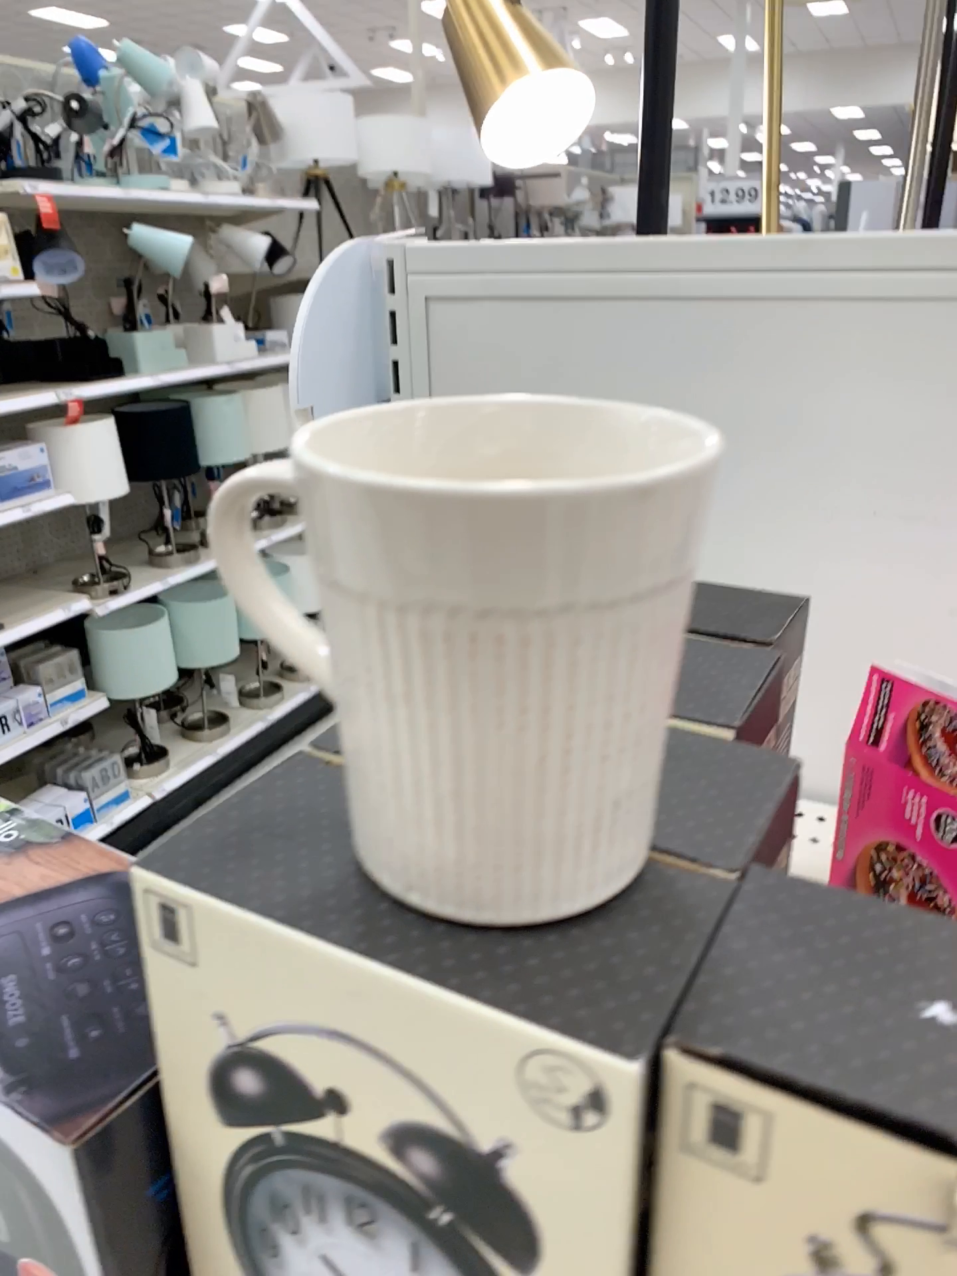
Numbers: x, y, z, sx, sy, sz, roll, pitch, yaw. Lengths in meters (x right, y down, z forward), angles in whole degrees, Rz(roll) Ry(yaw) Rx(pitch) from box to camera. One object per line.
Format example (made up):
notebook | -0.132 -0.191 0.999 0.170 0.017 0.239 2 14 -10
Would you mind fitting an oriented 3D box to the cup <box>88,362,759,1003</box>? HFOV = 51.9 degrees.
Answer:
cup | -0.011 -0.002 0.231 0.117 0.099 0.084 15 29 28
